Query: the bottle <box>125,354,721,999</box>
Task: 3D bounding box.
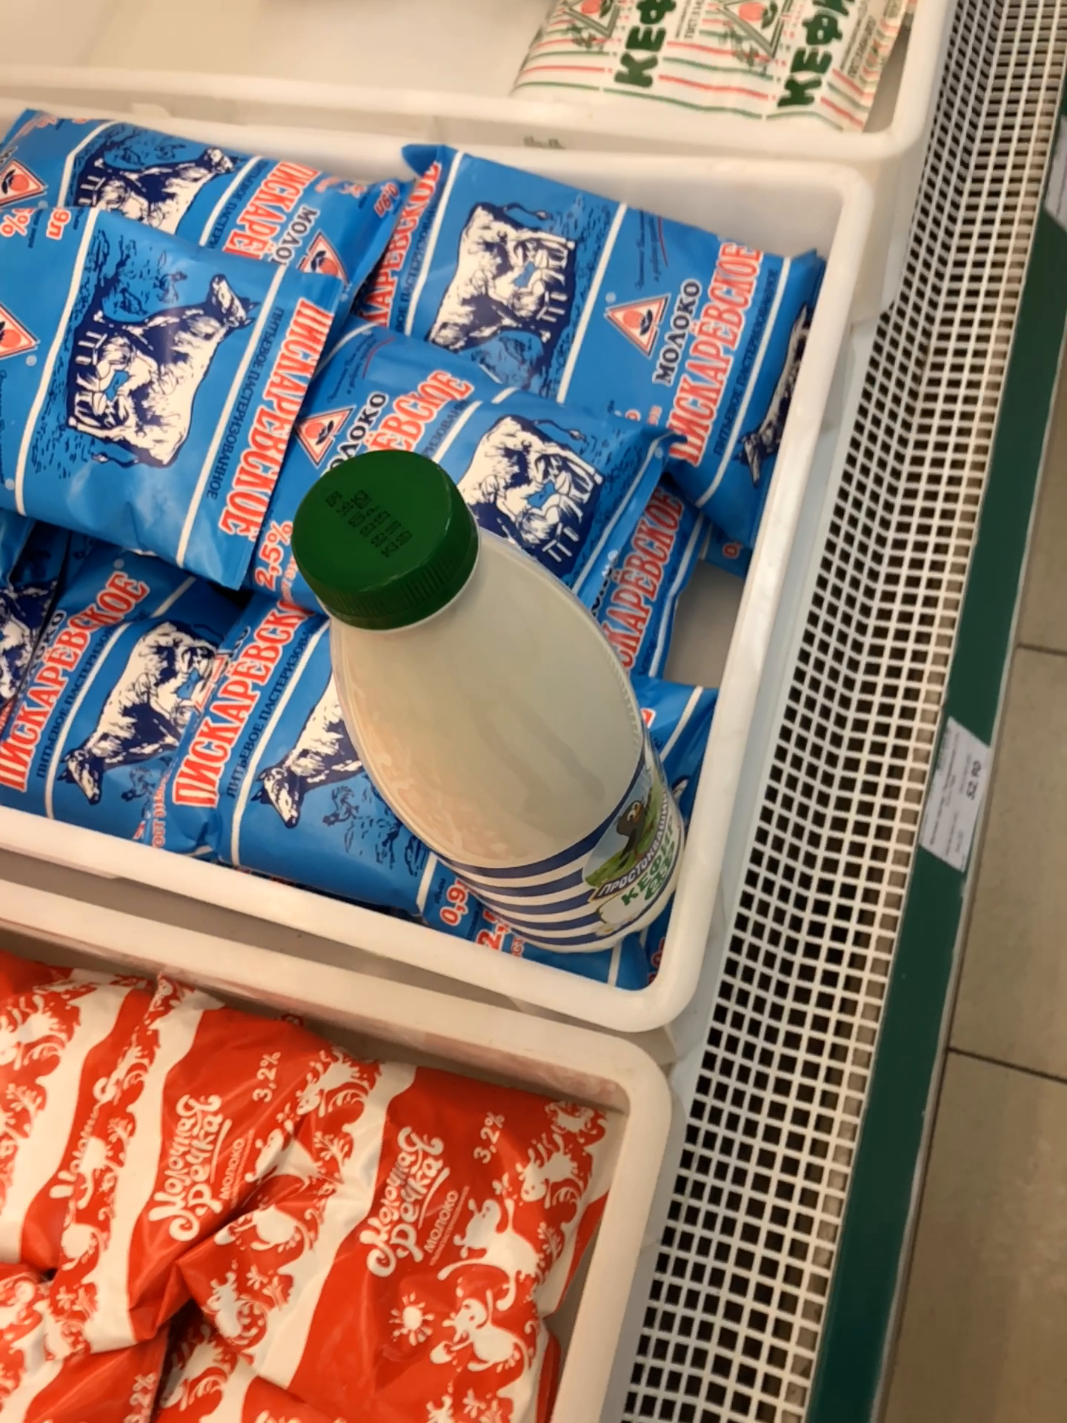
[{"bbox_3d":[-0.008,0.010,0.349,0.080,0.224,0.083,-6,65,12],"label":"bottle"}]
